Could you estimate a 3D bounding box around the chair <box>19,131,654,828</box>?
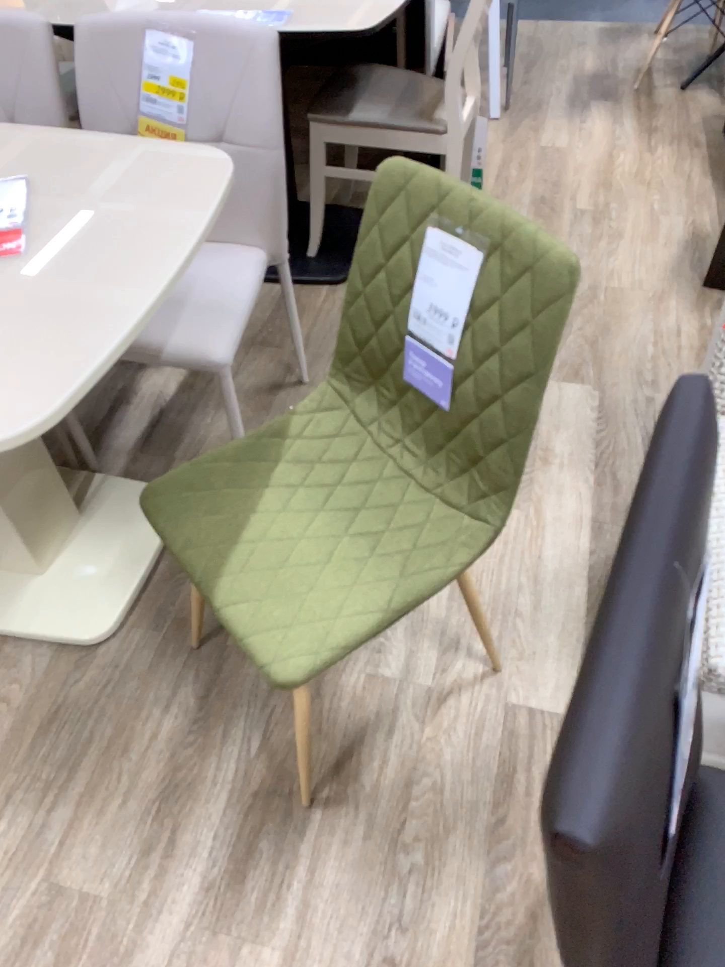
[{"bbox_3d":[-0.026,0.024,1.170,0.561,0.836,0.501,-31,53,-23],"label":"chair"}]
